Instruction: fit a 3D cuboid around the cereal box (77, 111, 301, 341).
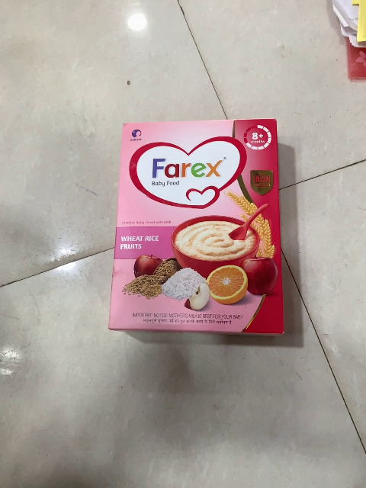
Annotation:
[{"bbox_3d":[0.006,-0.015,0.331,0.170,0.050,0.190,0,76,6],"label":"cereal box"}]
